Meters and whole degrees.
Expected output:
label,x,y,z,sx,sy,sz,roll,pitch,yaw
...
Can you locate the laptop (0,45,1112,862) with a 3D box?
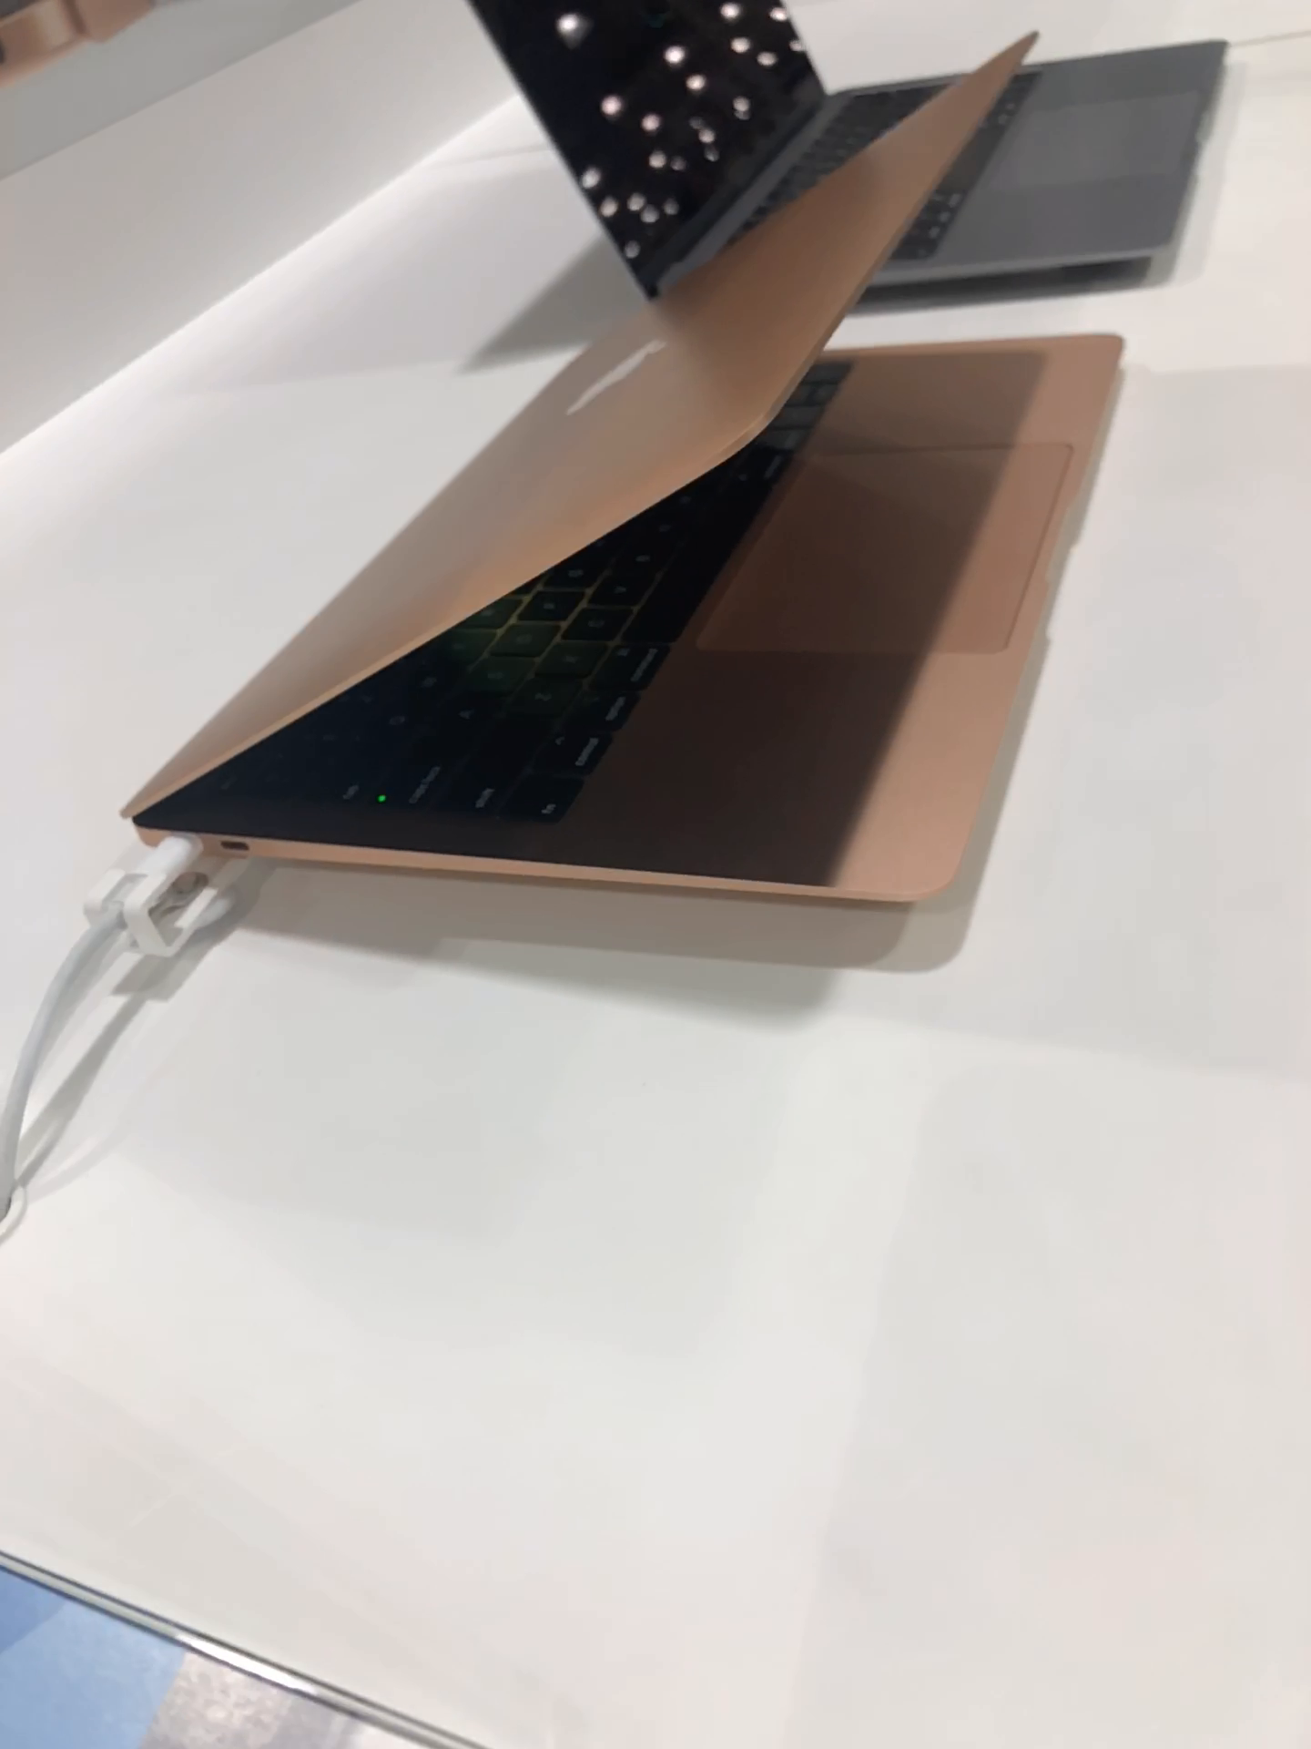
label,x,y,z,sx,sy,sz,roll,pitch,yaw
laptop,0.001,-0.133,0.409,0.209,0.091,0.286,3,40,23
